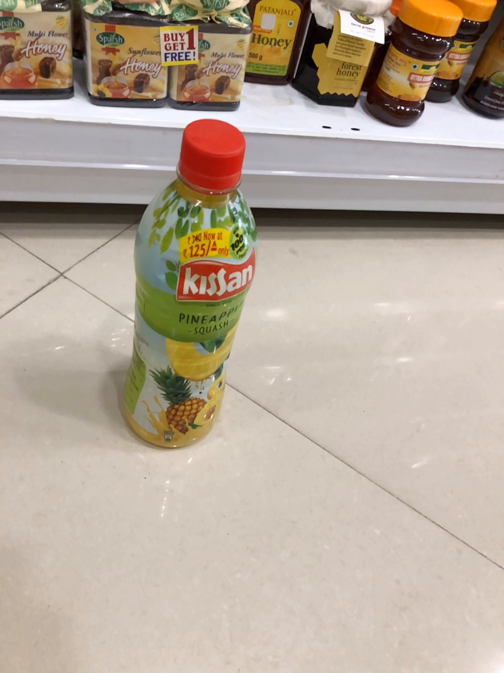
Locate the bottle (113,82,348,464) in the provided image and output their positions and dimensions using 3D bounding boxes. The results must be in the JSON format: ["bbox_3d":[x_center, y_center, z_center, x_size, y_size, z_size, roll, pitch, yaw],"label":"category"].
[{"bbox_3d":[-0.032,-0.020,0.333,0.080,0.228,0.080,7,51,-9],"label":"bottle"}]
